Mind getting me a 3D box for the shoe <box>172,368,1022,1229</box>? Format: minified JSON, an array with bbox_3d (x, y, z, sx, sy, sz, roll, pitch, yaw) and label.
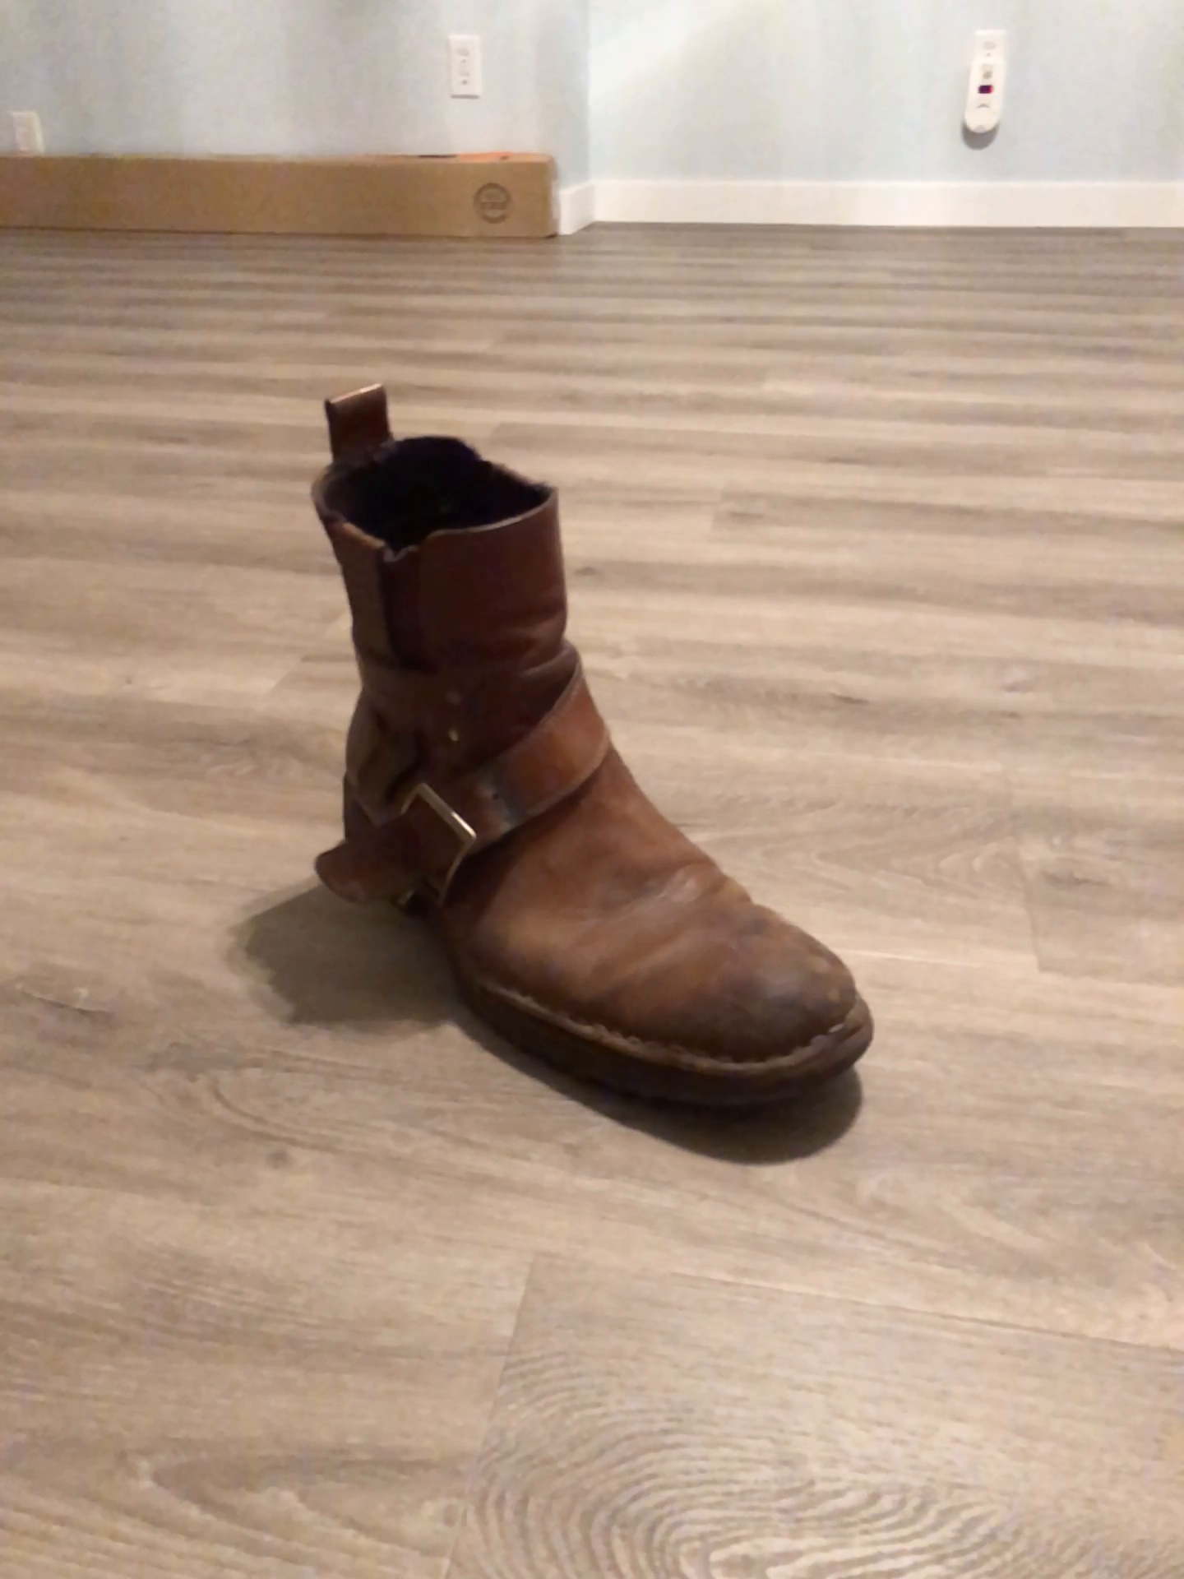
[{"bbox_3d":[-0.015,-0.024,0.498,0.130,0.209,0.291,-24,36,-36],"label":"shoe"}]
